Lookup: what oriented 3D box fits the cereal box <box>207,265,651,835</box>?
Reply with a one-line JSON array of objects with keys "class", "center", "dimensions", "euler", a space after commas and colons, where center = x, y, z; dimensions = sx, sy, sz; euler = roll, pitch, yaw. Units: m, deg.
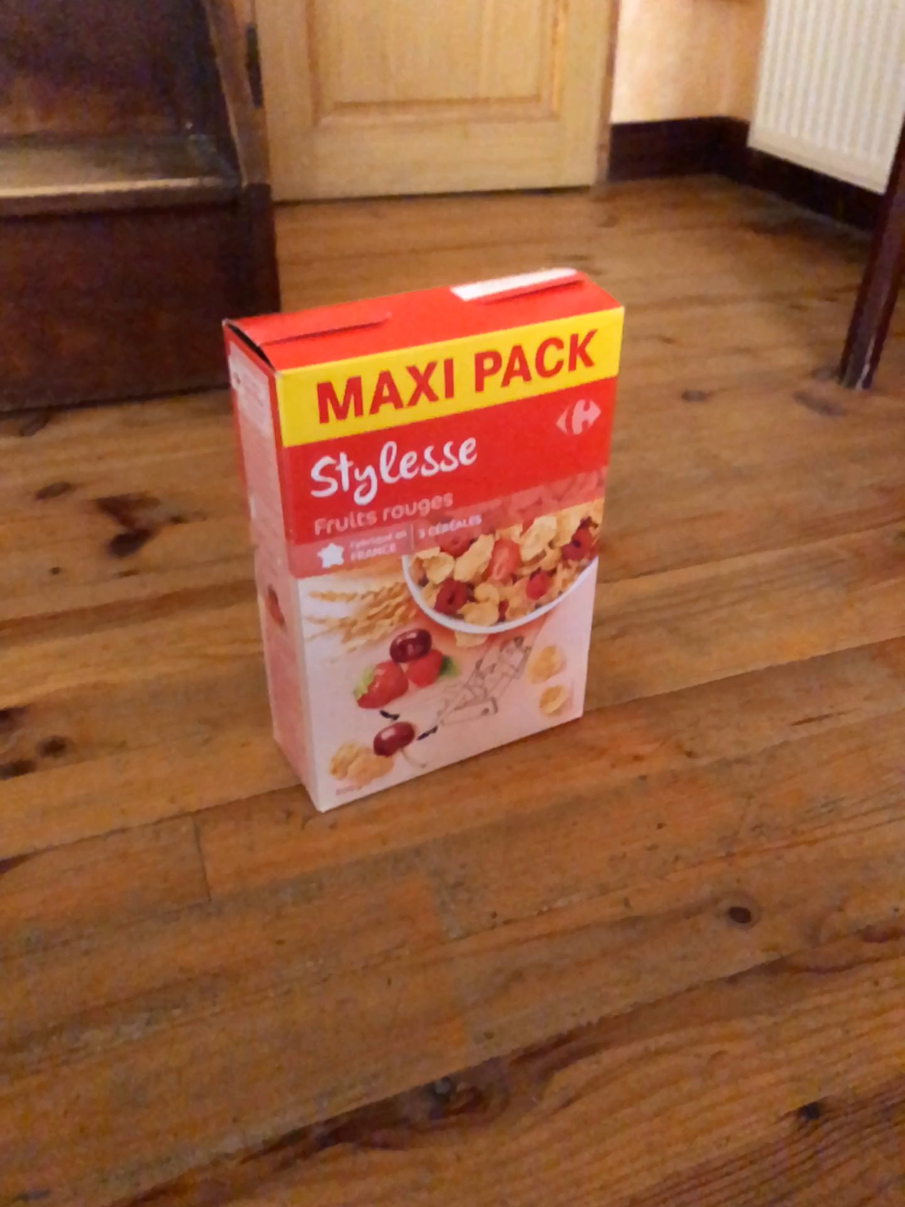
[{"class": "cereal box", "center": [-0.012, -0.030, 0.594], "dimensions": [0.211, 0.288, 0.090], "euler": [-16, 38, -23]}]
